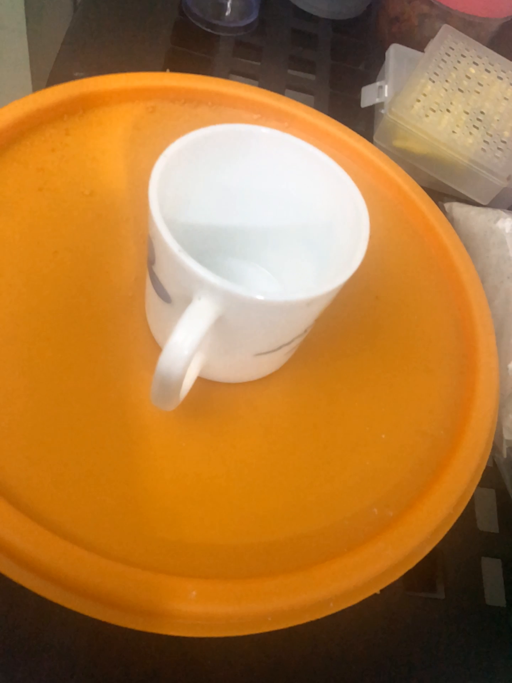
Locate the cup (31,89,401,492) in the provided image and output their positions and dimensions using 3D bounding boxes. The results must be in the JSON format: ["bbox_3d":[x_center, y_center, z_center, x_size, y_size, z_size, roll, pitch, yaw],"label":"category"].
[{"bbox_3d":[-0.012,-0.017,0.207,0.080,0.070,0.100,28,58,1],"label":"cup"}]
